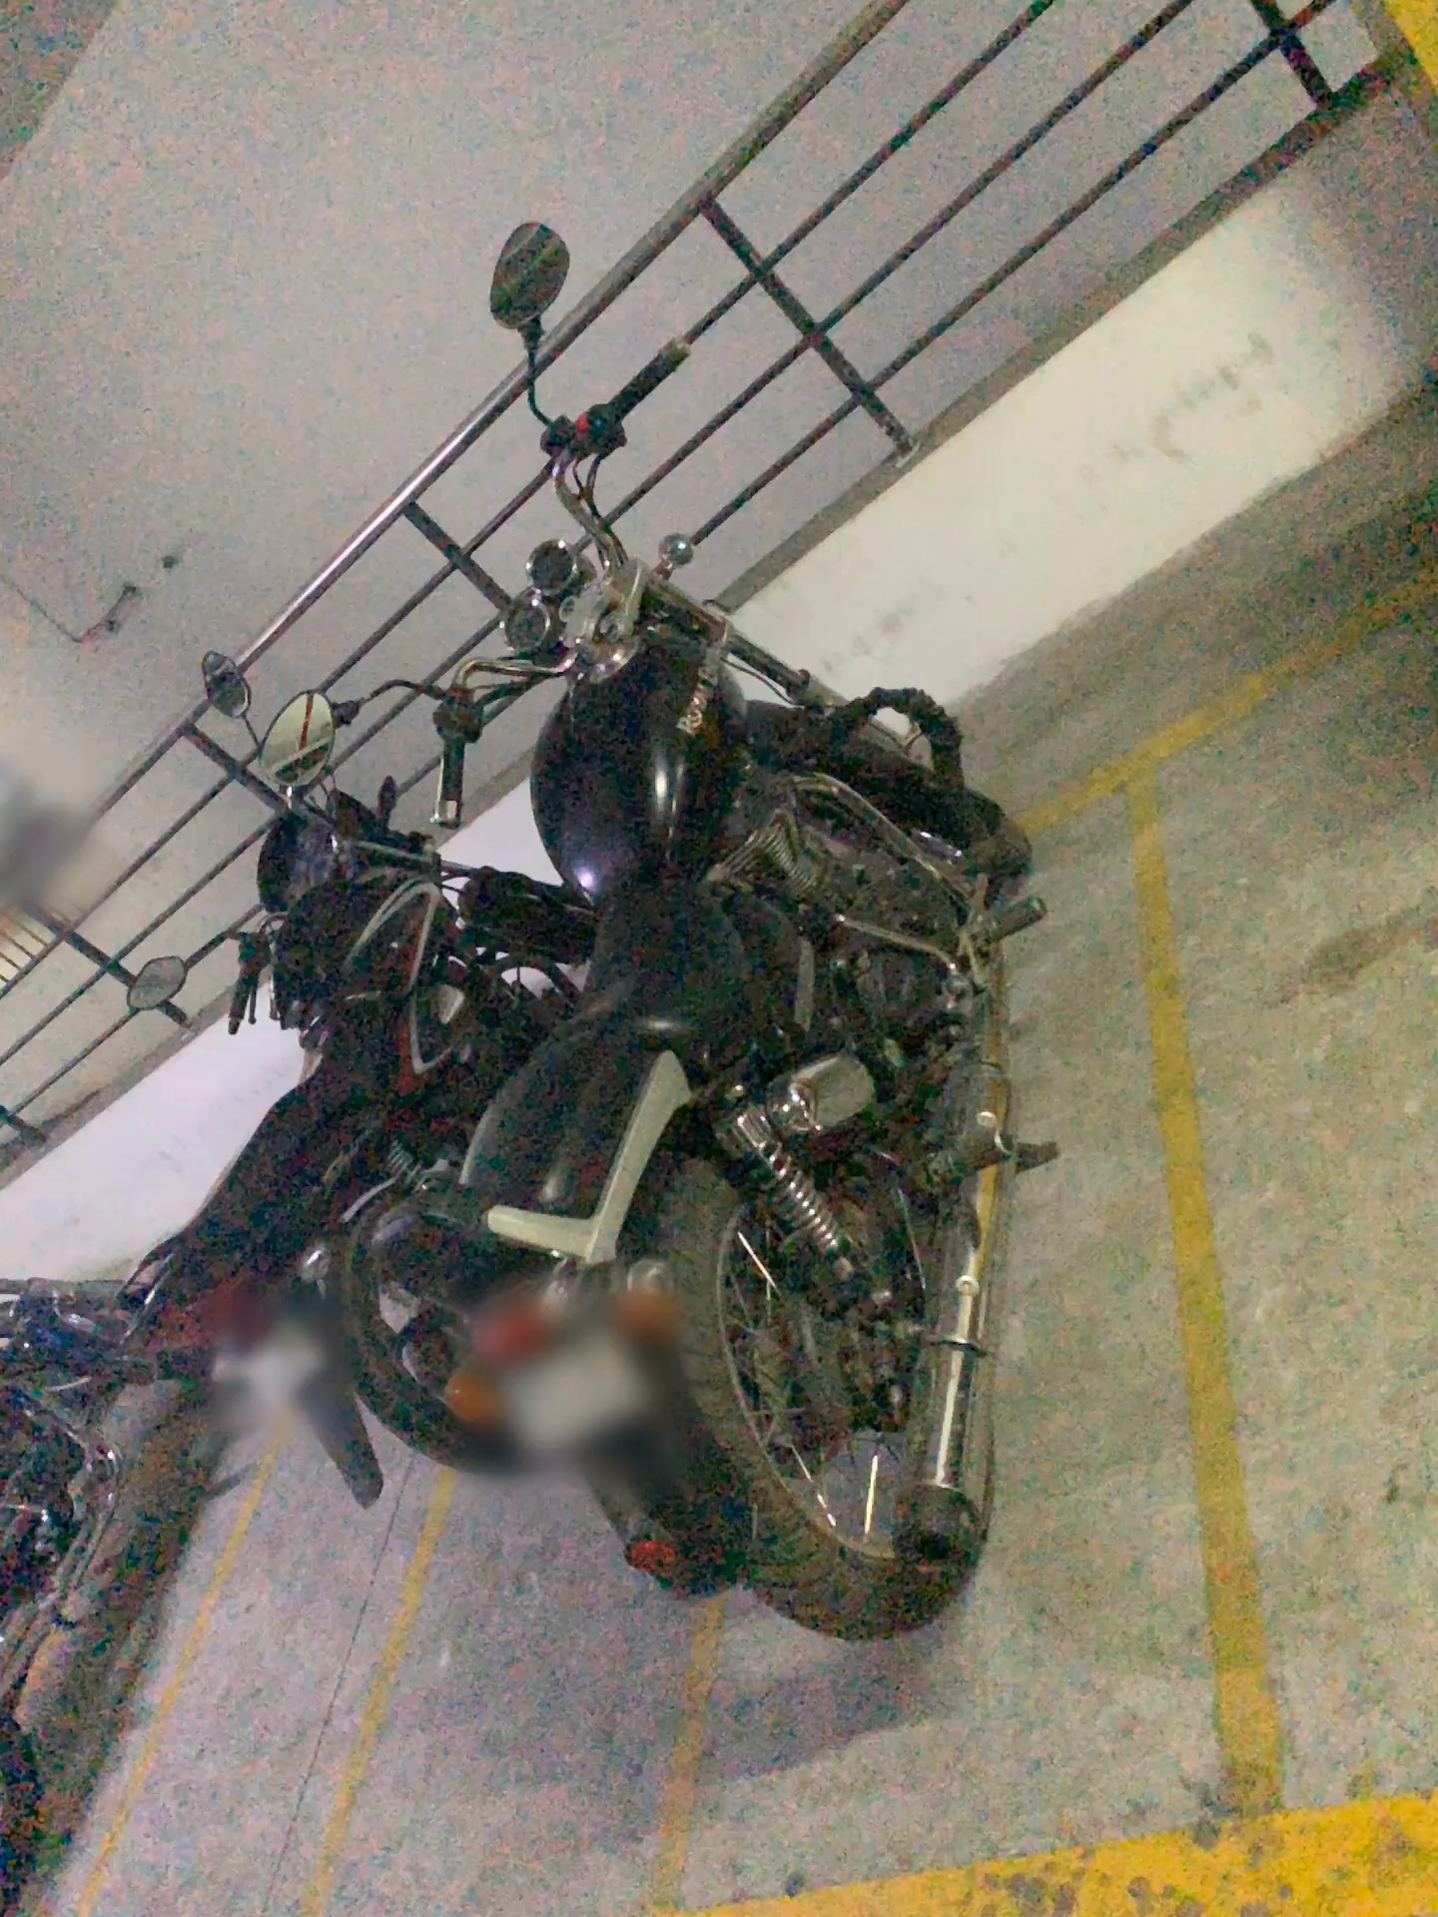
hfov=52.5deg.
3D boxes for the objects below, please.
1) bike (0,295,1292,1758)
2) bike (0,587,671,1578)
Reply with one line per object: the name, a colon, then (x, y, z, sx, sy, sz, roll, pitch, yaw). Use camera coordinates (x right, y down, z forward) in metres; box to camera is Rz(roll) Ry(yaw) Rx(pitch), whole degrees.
bike: (-0.093, -0.026, 2.259, 0.853, 1.231, 1.803, -35, 27, 26)
bike: (-0.820, 0.230, 3.169, 0.721, 1.276, 1.569, -34, 31, 30)
